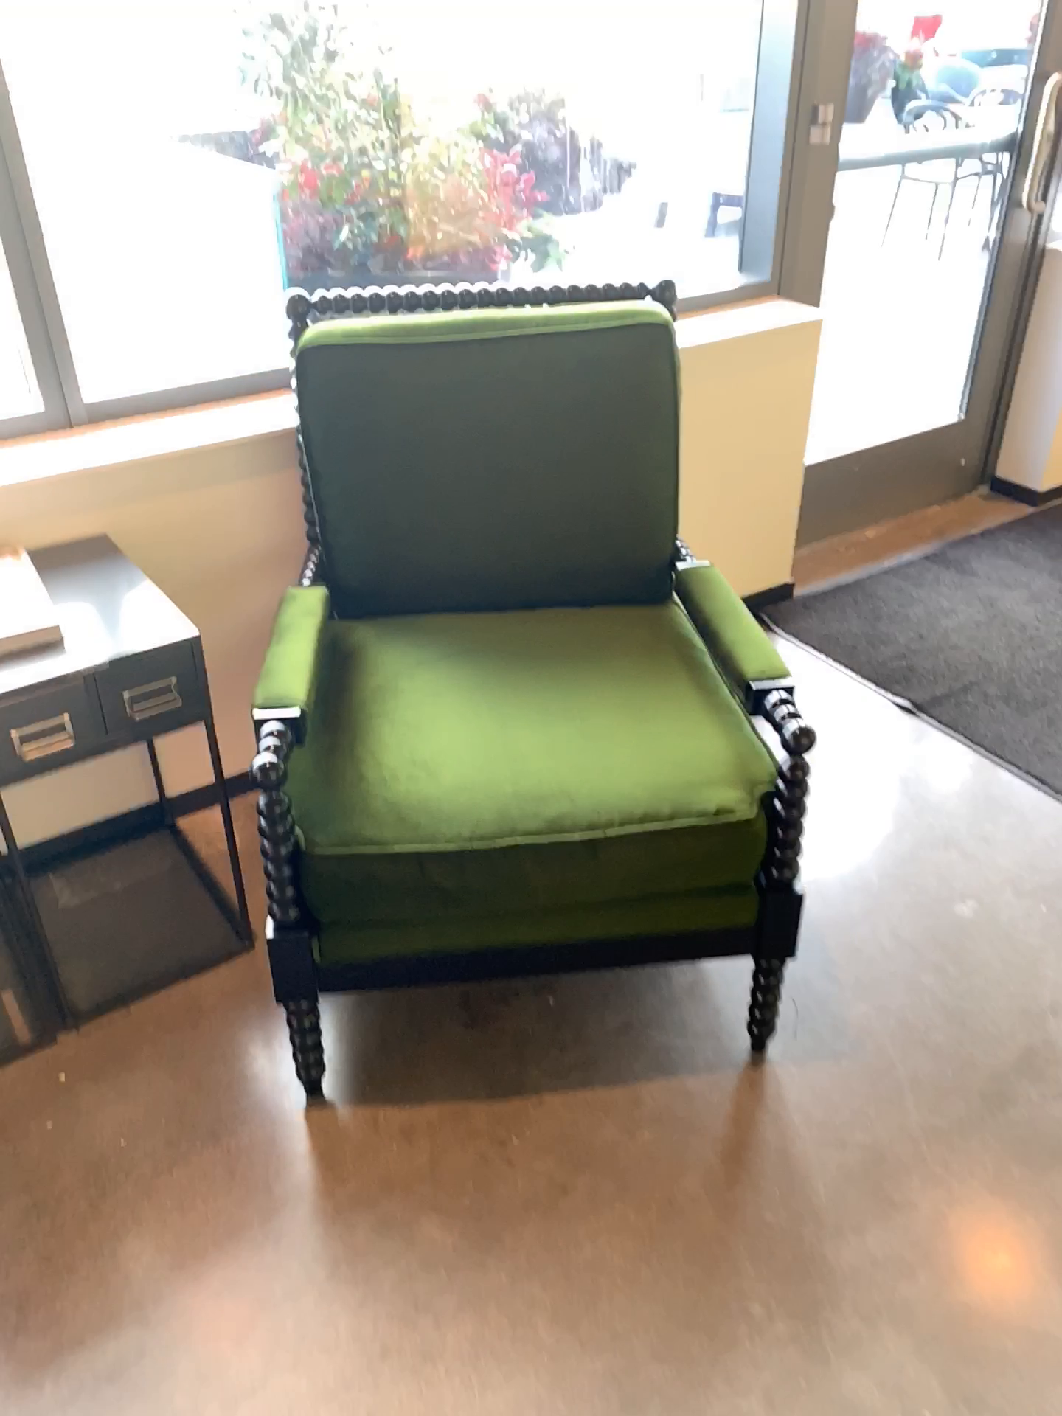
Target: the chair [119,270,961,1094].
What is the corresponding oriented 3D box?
[{"bbox_3d":[-0.022,-0.110,1.757,0.870,0.924,0.946,-4,33,-5],"label":"chair"}]
